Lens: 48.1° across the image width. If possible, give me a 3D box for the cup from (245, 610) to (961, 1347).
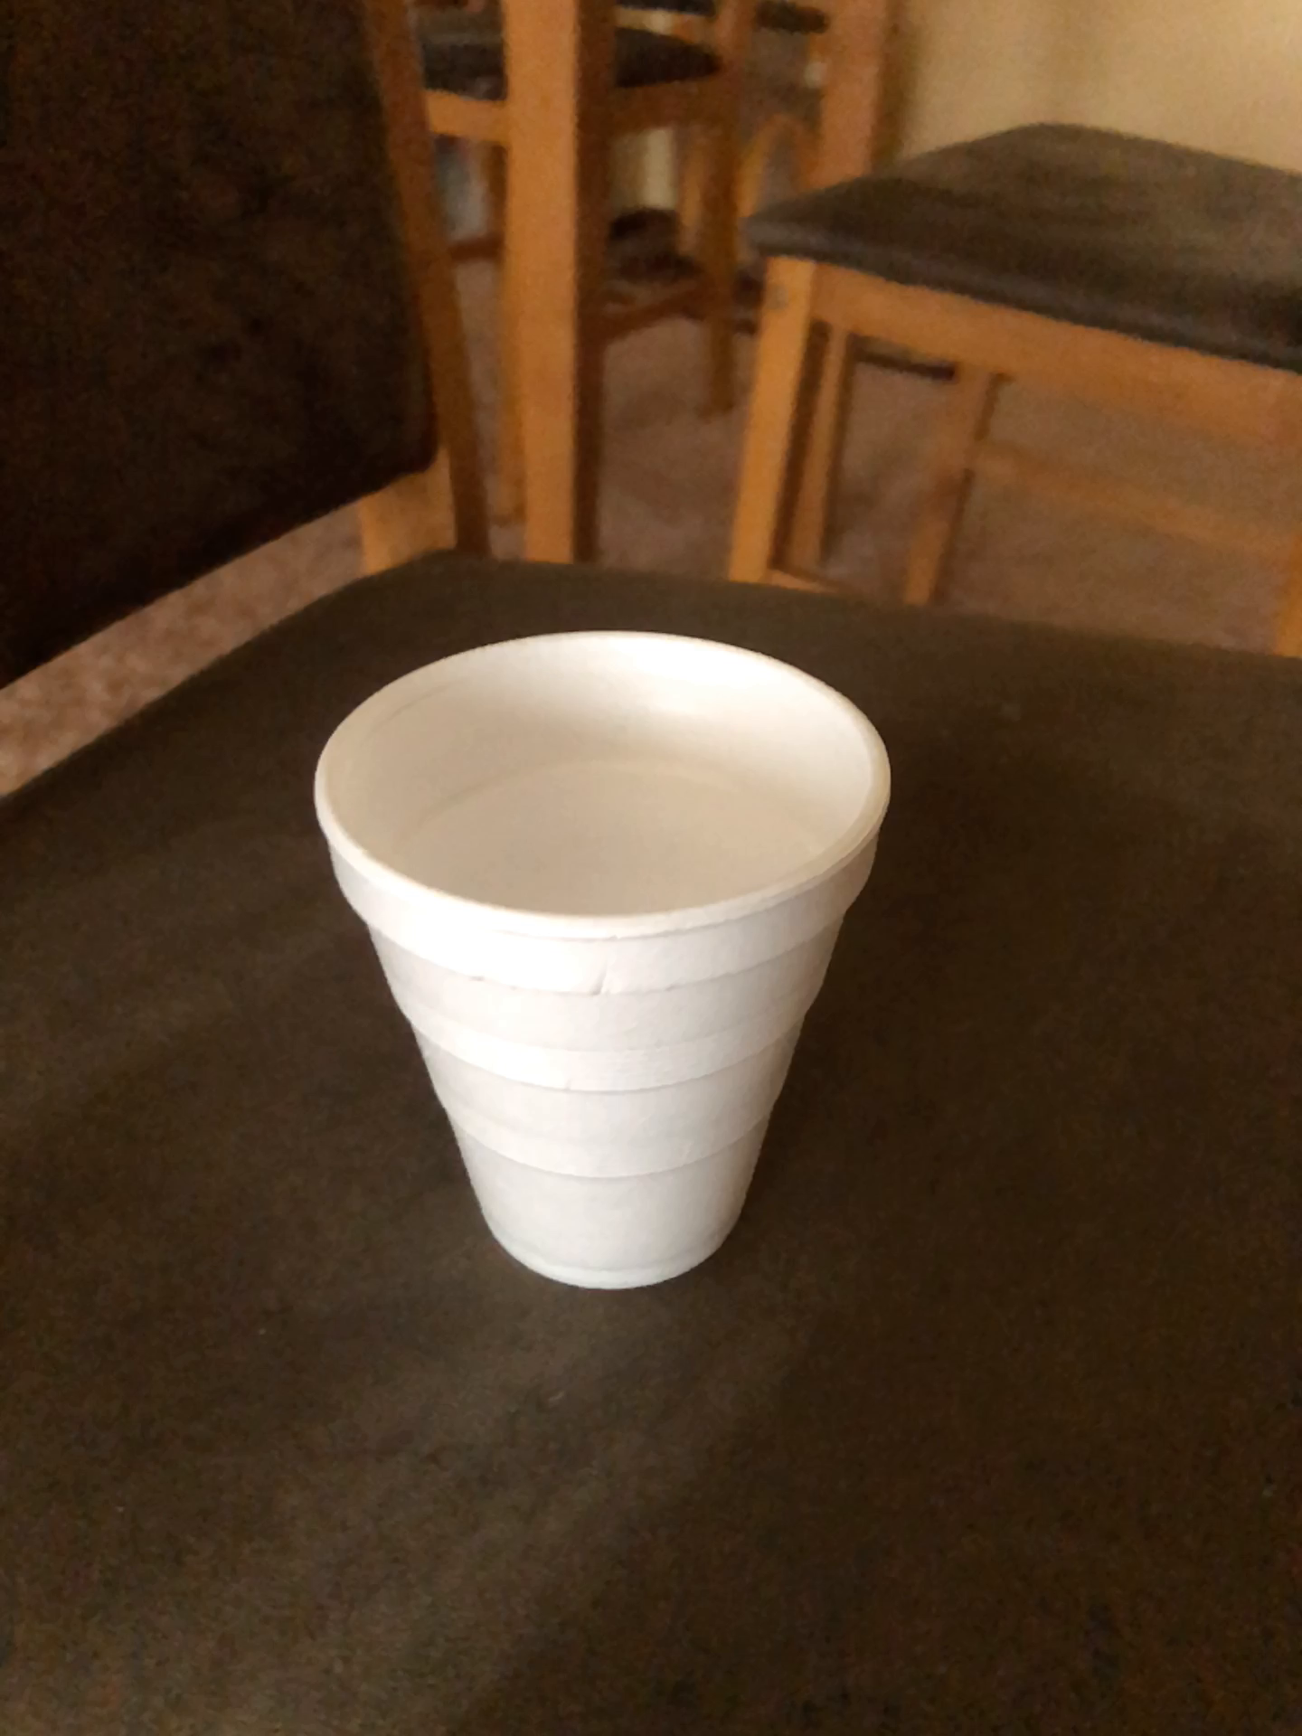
[{"bbox_3d":[-0.007,0.015,0.243,0.090,0.080,0.090,2,36,-1],"label":"cup"}]
